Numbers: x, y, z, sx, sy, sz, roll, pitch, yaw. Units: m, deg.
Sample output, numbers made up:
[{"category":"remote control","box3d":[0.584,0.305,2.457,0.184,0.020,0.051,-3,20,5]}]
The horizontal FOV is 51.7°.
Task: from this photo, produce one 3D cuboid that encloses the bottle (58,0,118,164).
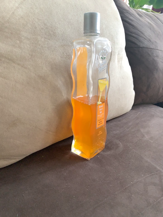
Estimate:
[{"category":"bottle","box3d":[0.014,-0.044,0.357,0.080,0.299,0.080,-1,17,0]}]
